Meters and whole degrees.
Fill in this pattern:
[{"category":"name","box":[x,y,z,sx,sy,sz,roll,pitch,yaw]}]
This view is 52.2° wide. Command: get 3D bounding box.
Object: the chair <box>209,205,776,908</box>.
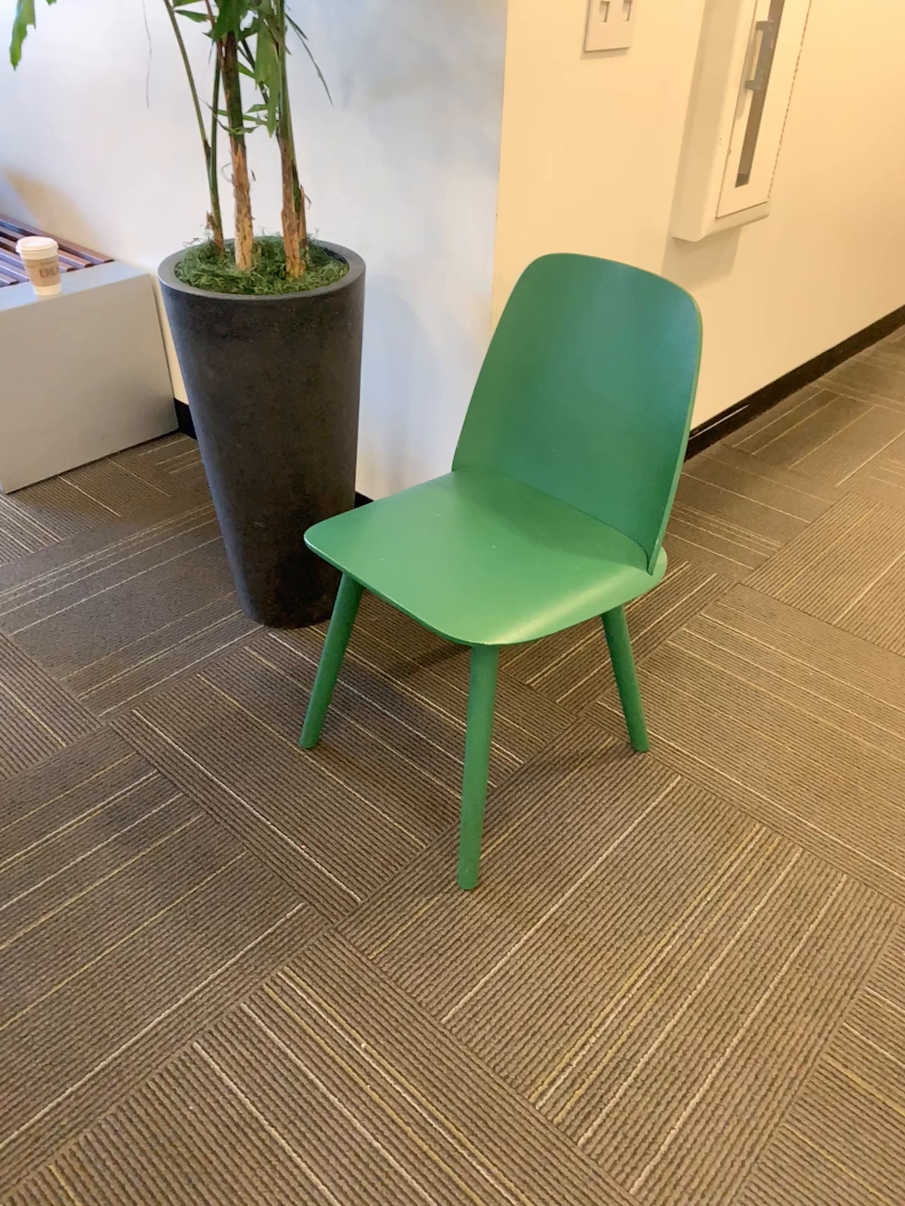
[{"category":"chair","box":[0.041,-0.092,1.377,0.502,0.785,0.501,30,44,33]}]
